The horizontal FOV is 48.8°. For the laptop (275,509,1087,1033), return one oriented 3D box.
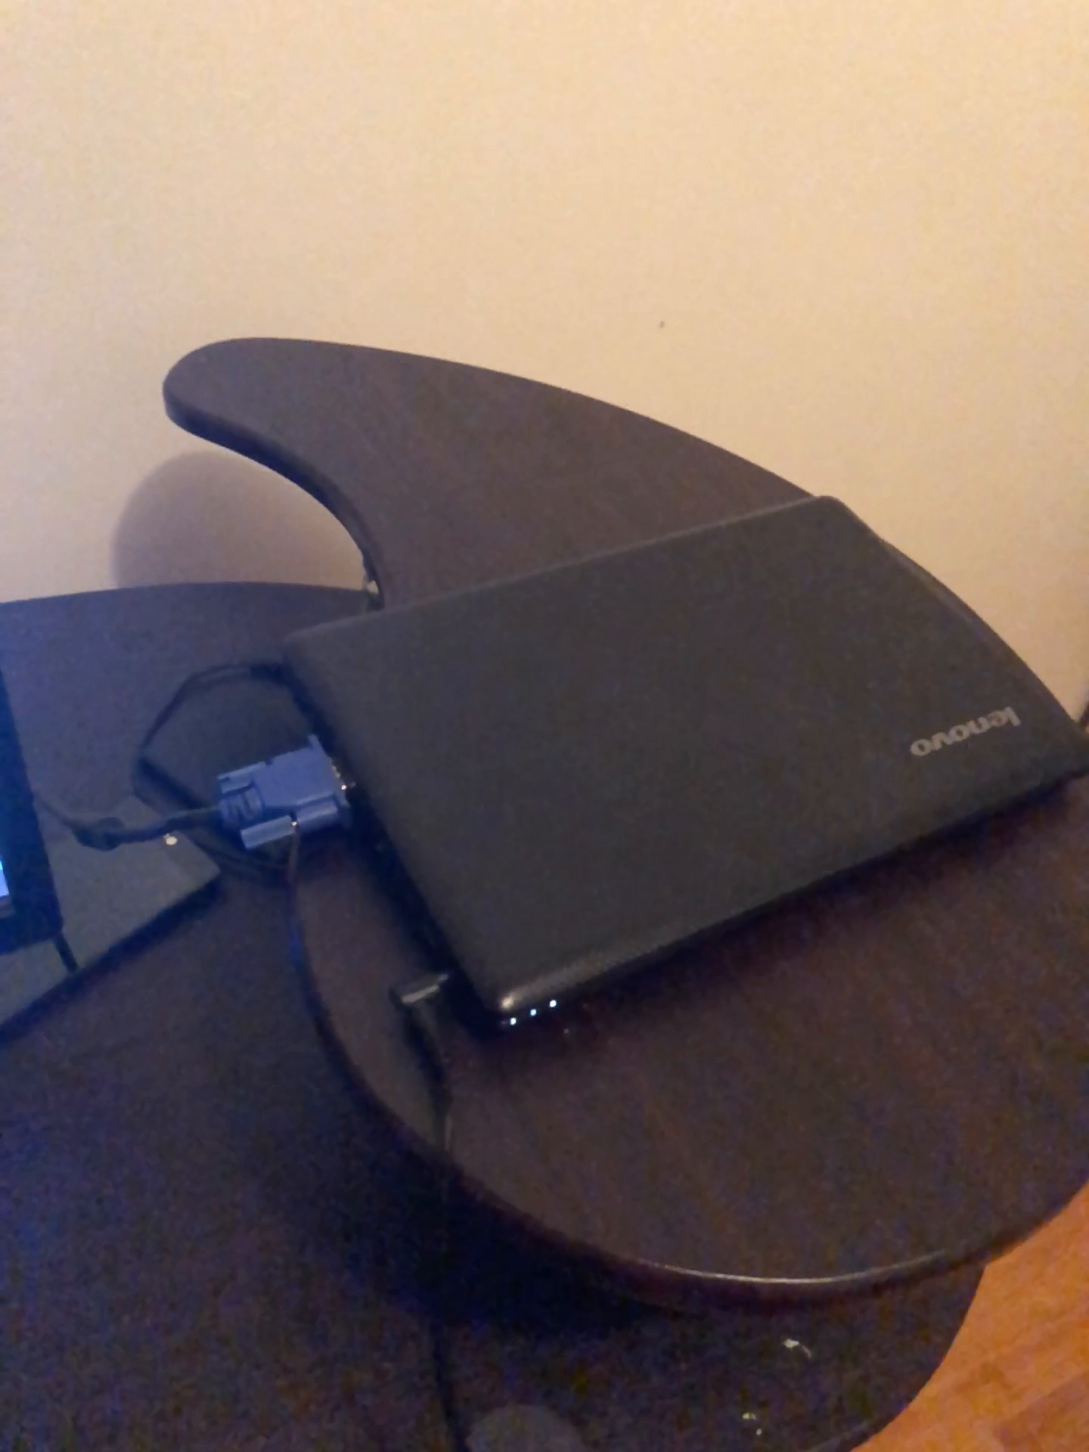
[{"bbox_3d":[0.052,-0.004,0.461,0.259,0.008,0.172,-19,51,-23],"label":"laptop"}]
